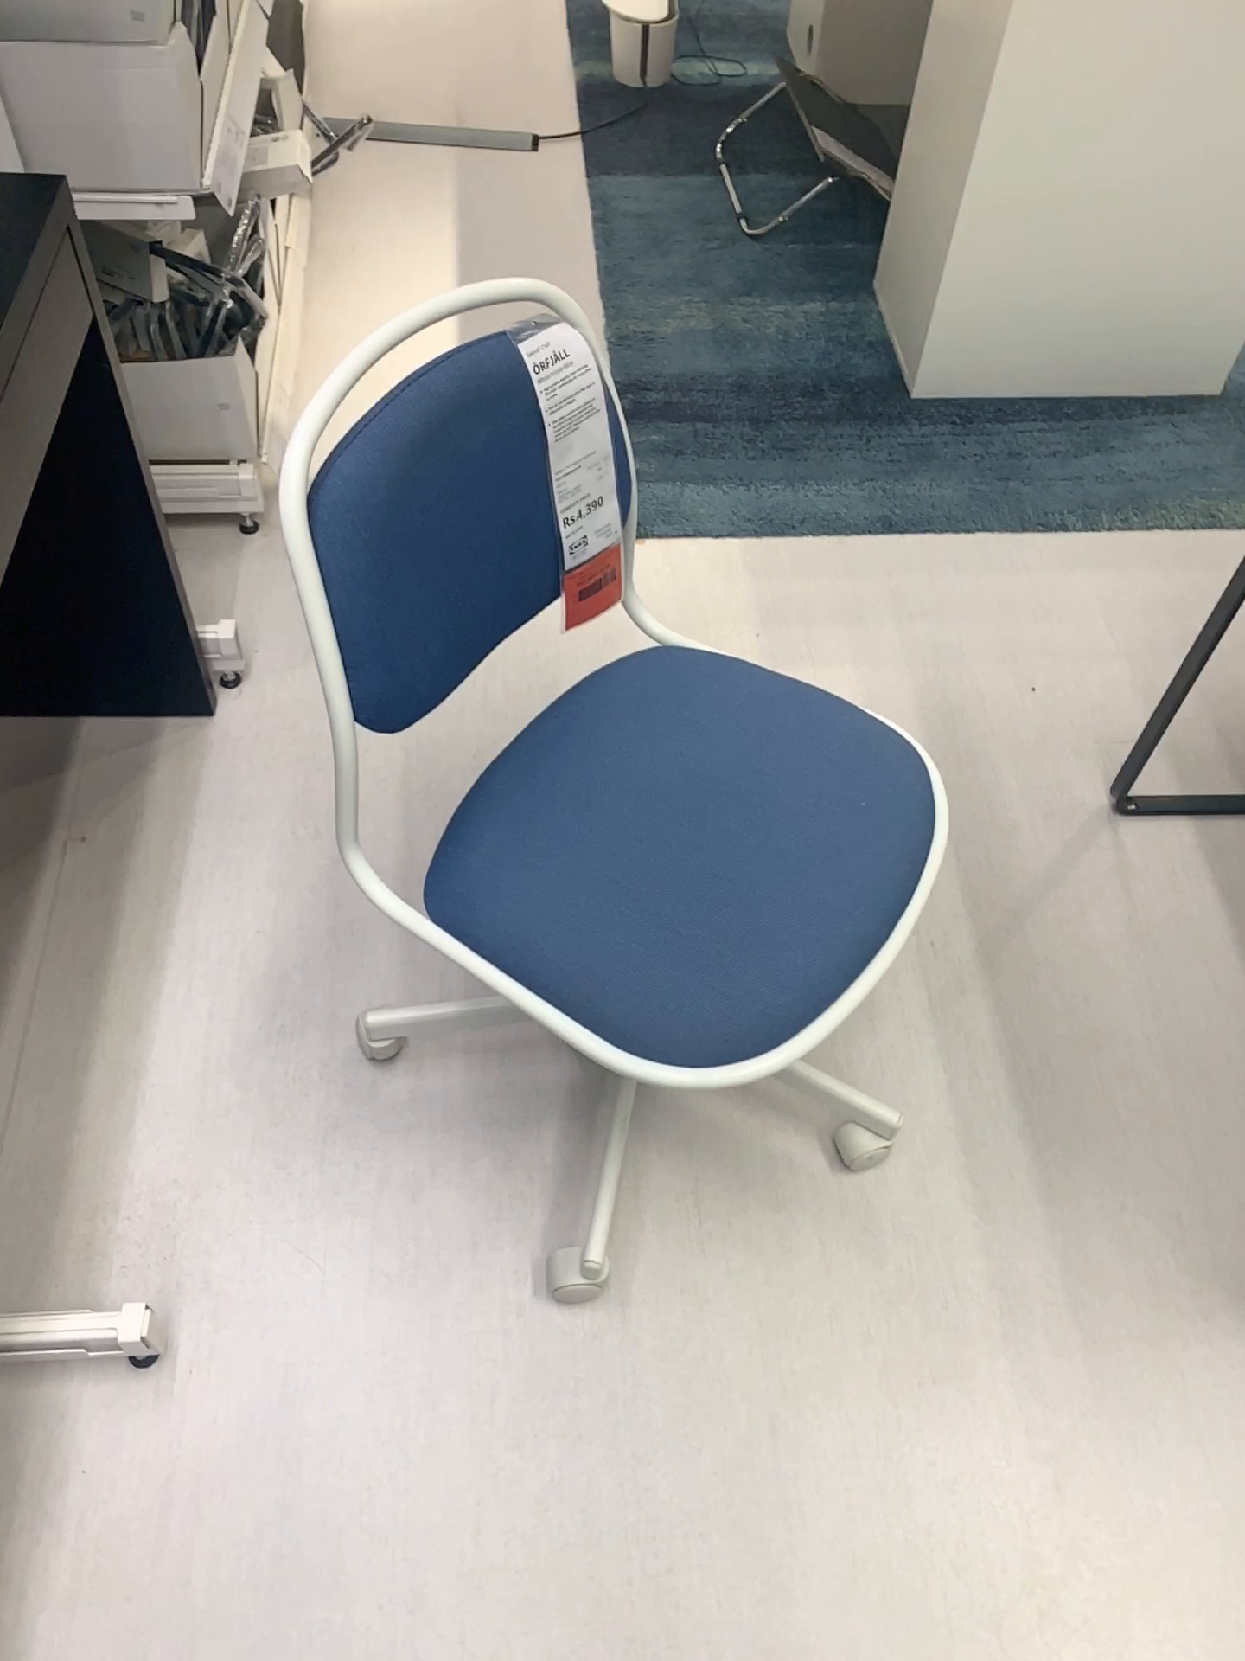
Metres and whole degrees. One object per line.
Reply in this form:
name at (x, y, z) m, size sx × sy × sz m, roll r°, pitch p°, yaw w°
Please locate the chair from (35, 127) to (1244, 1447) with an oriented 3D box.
chair at (0.064, -0.006, 1.136) m, size 0.600 × 0.798 × 0.641 m, roll 31°, pitch 58°, yaw 18°
